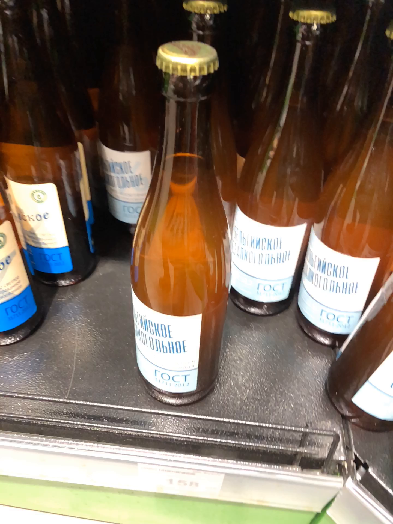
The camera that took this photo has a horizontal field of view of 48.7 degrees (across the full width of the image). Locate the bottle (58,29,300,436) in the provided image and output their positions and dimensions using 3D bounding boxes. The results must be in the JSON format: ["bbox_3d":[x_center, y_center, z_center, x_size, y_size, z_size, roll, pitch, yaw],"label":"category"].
[{"bbox_3d":[-0.015,0.001,0.288,0.080,0.254,0.080,2,42,-2],"label":"bottle"}]
